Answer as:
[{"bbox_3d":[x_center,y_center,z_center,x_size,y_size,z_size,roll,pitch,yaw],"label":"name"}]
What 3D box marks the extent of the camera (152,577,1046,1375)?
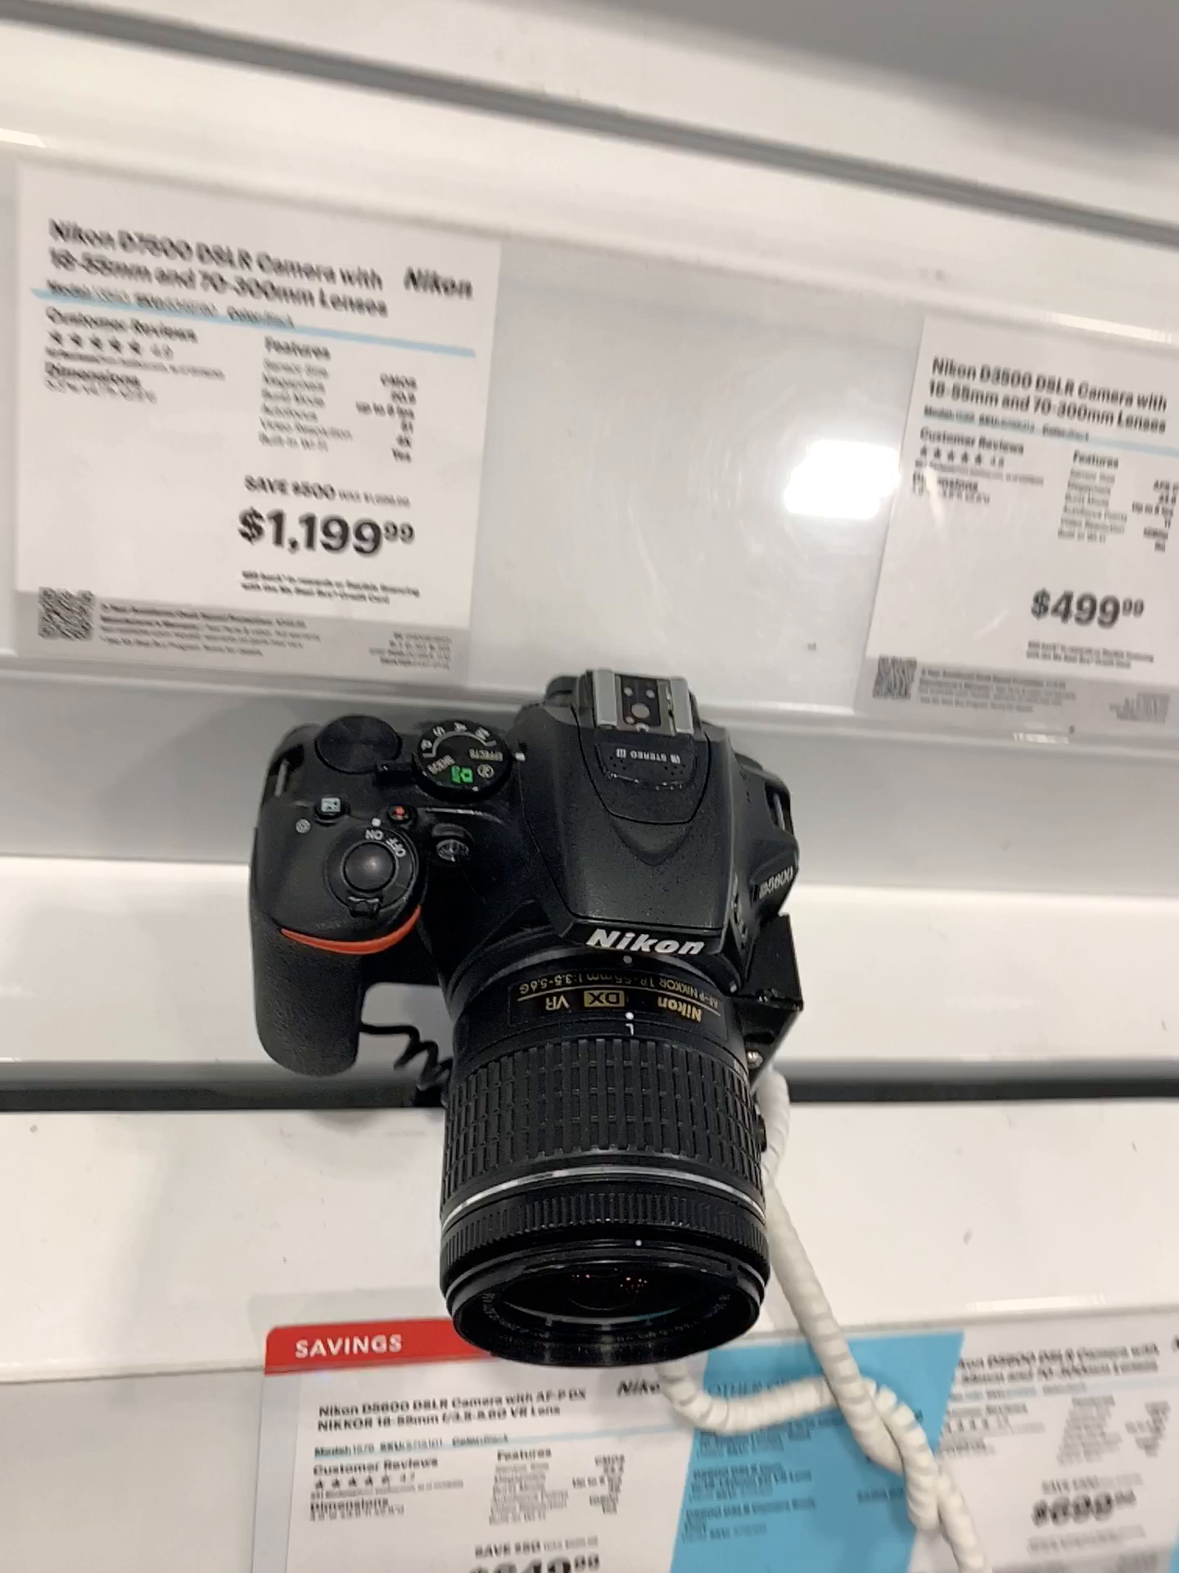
[{"bbox_3d":[-0.007,0.040,0.244,0.130,0.090,0.120,5,50,-12],"label":"camera"}]
